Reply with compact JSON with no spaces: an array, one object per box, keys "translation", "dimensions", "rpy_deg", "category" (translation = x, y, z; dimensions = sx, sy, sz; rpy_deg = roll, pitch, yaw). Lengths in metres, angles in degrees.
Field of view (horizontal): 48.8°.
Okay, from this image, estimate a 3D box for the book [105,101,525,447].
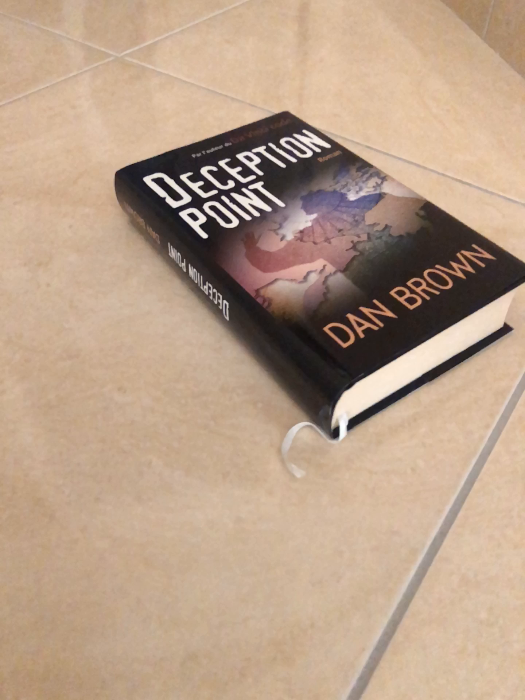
[{"translation":[0.023,-0.064,0.328],"dimensions":[0.137,0.037,0.212],"rpy_deg":[-28,54,-22],"category":"book"}]
